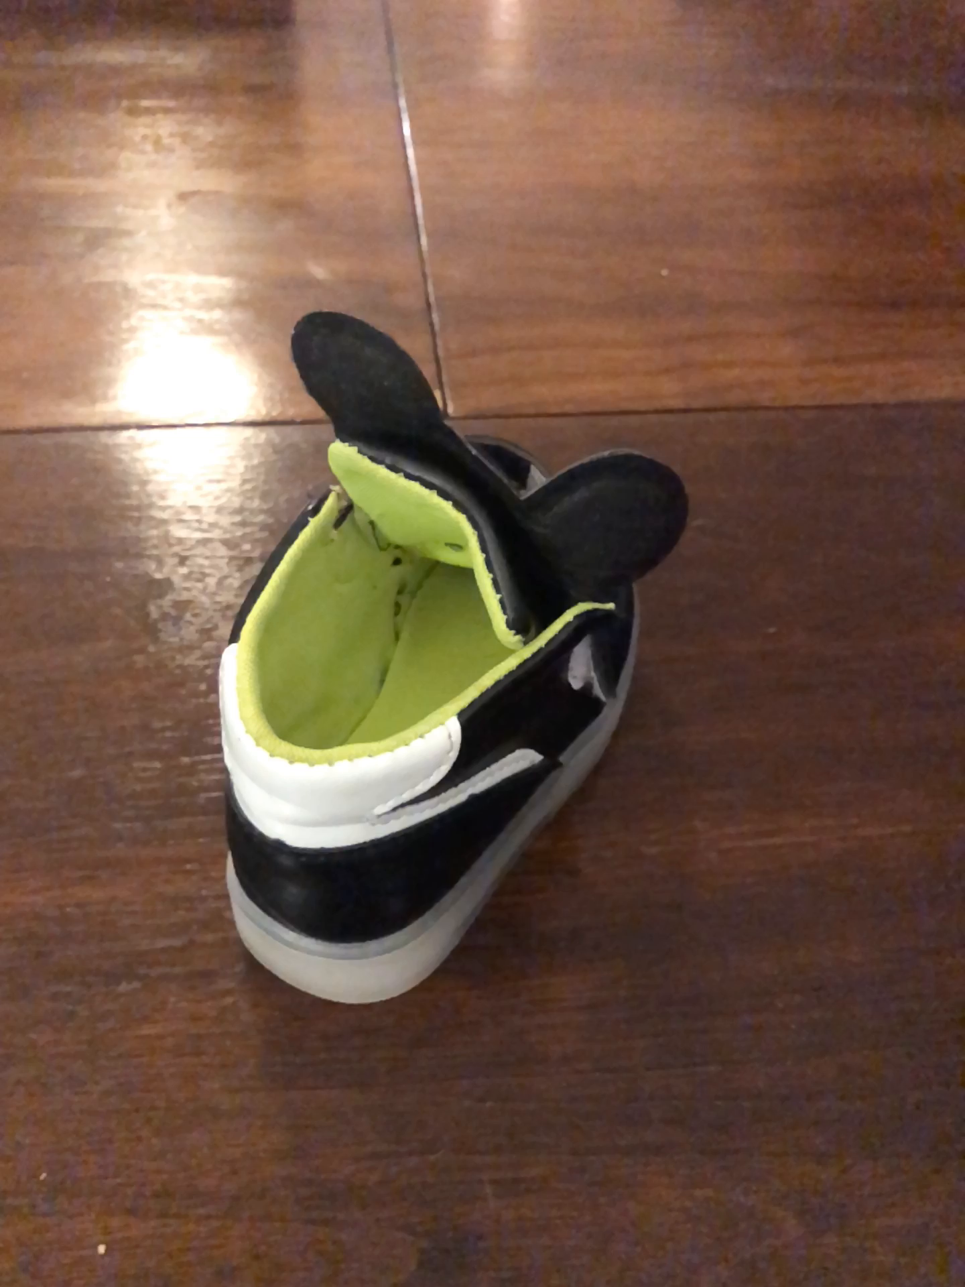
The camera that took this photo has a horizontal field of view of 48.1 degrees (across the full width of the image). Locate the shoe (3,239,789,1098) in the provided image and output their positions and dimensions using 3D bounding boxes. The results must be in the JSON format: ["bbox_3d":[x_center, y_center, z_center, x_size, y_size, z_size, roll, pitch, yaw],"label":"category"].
[{"bbox_3d":[-0.007,-0.003,0.249,0.090,0.100,0.150,23,51,16],"label":"shoe"}]
